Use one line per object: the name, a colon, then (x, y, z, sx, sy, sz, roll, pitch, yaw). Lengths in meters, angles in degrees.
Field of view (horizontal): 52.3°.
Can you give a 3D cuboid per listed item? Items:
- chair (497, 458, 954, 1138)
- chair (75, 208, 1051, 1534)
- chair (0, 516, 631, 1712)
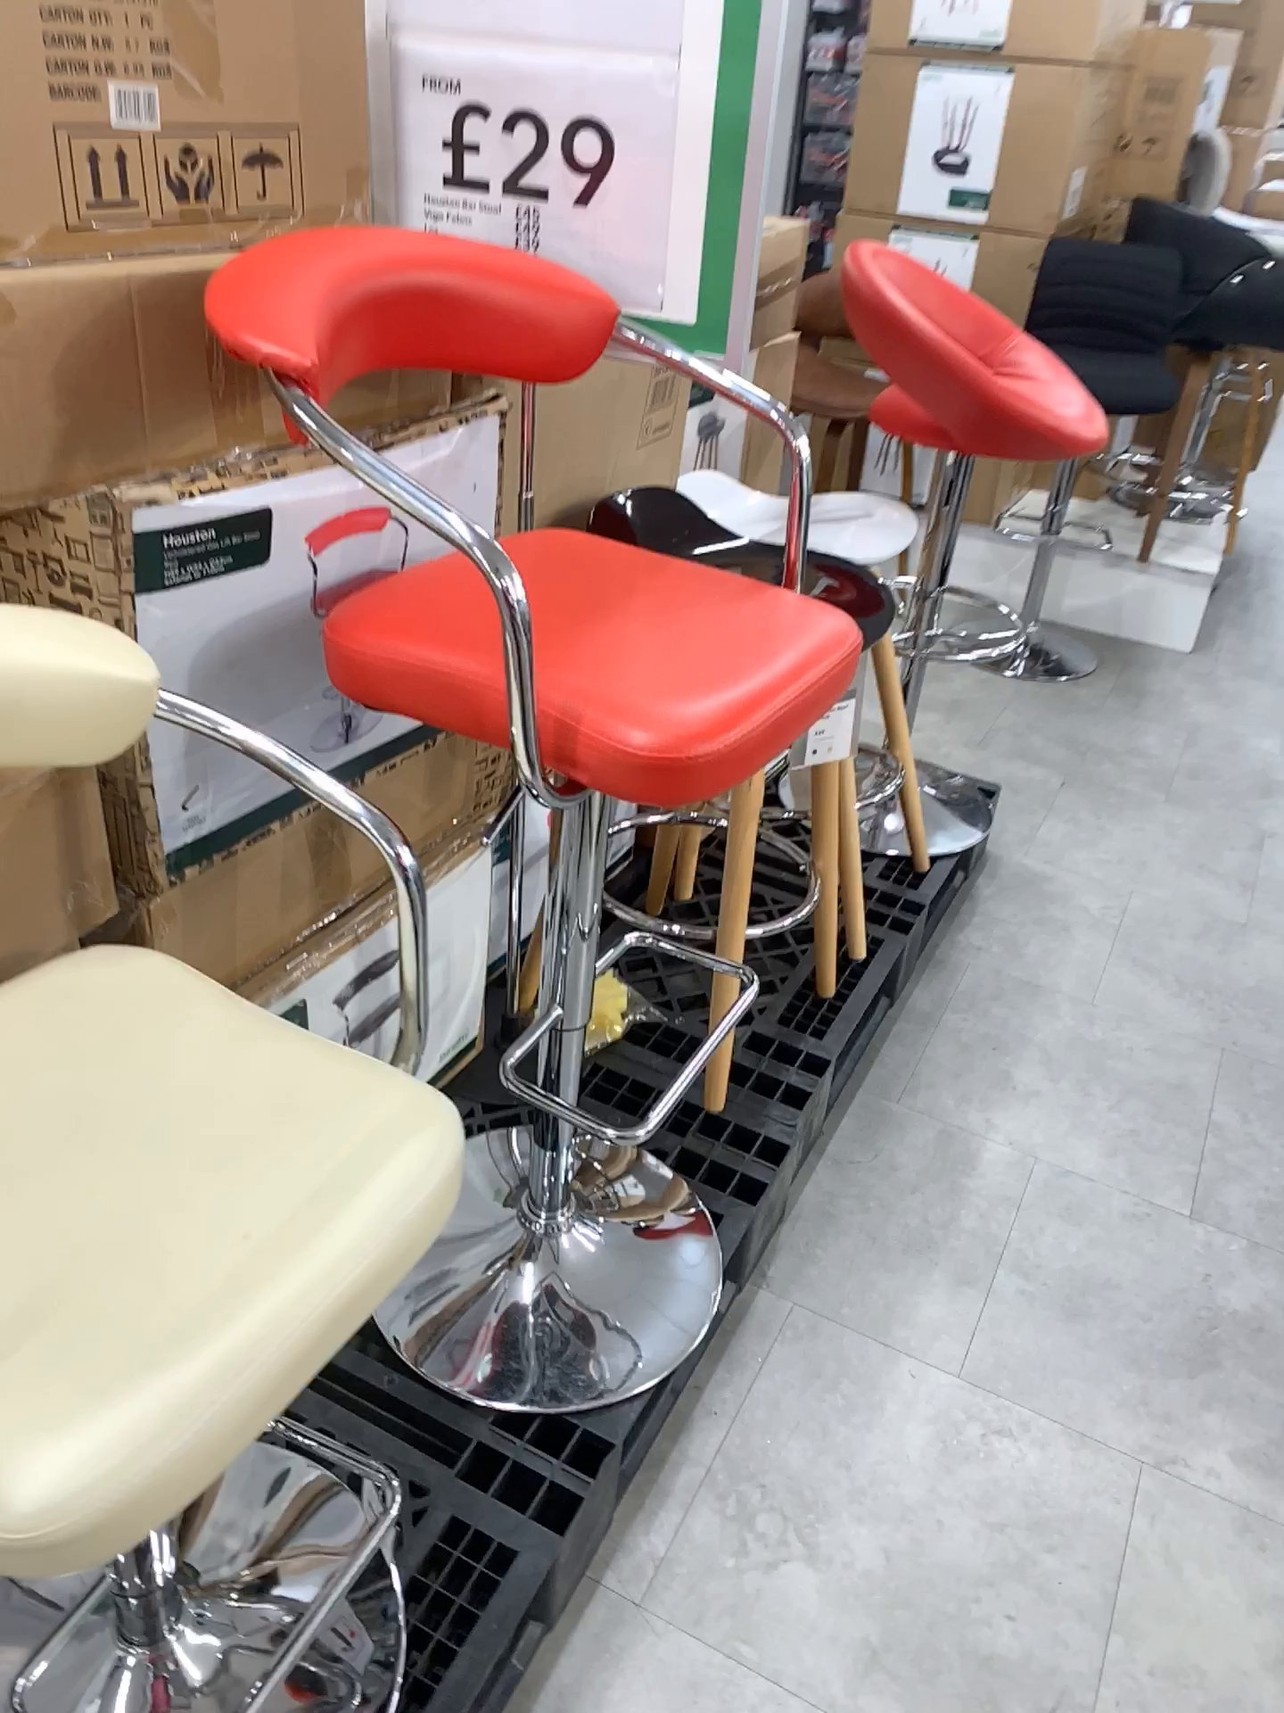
chair: (0.097, -0.093, 1.742, 0.389, 0.710, 0.428, 19, 33, 21)
chair: (-0.054, -0.013, 1.209, 0.529, 0.977, 0.529, 18, 33, 20)
chair: (-0.355, 0.291, 0.876, 0.459, 0.838, 0.499, 18, 33, 20)
